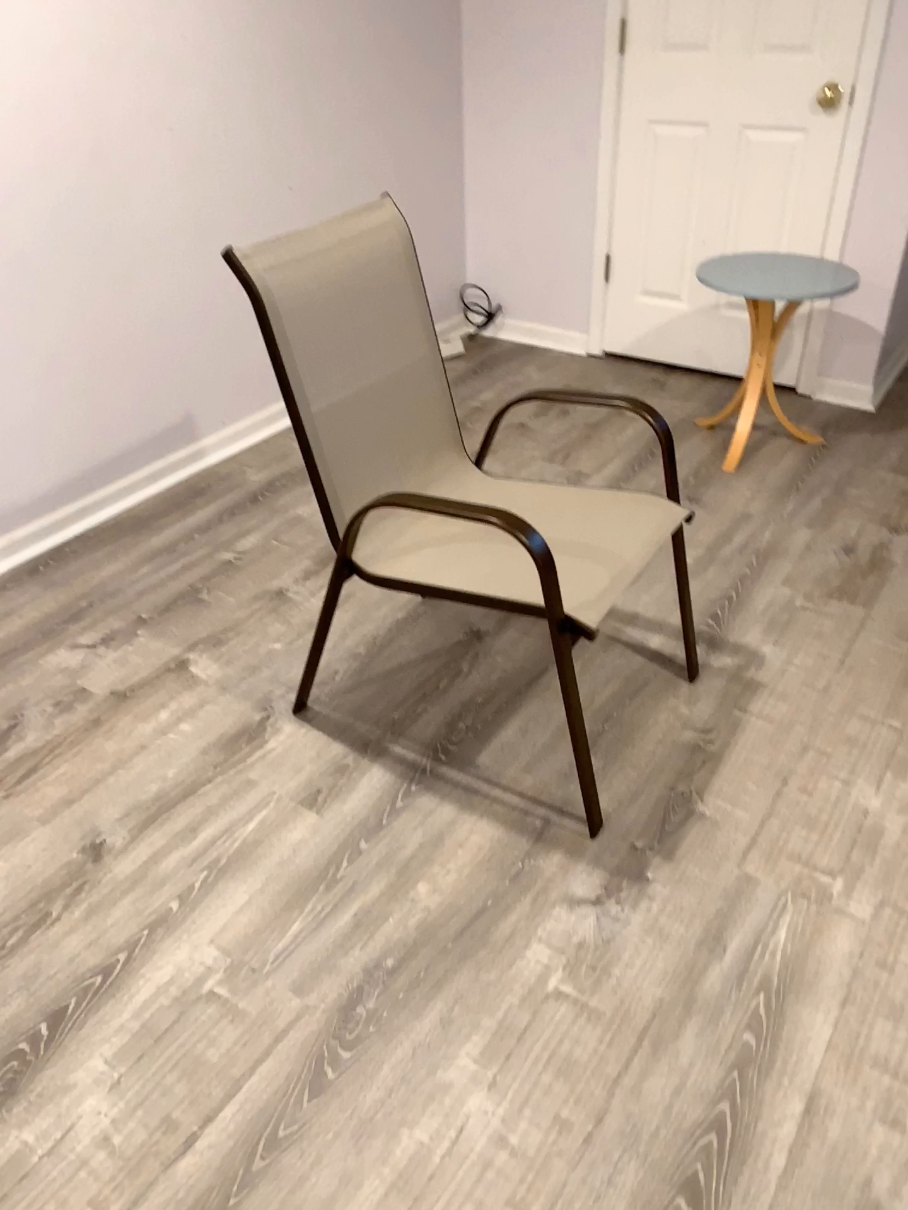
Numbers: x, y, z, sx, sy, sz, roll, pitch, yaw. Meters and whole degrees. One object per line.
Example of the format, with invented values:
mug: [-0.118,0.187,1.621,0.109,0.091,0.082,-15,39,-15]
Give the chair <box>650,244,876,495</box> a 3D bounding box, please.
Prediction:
chair: [0.866,-0.683,2.619,0.435,0.526,0.427,17,38,26]

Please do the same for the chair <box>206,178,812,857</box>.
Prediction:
chair: [0.104,-0.196,1.604,0.715,0.873,0.568,17,38,26]
